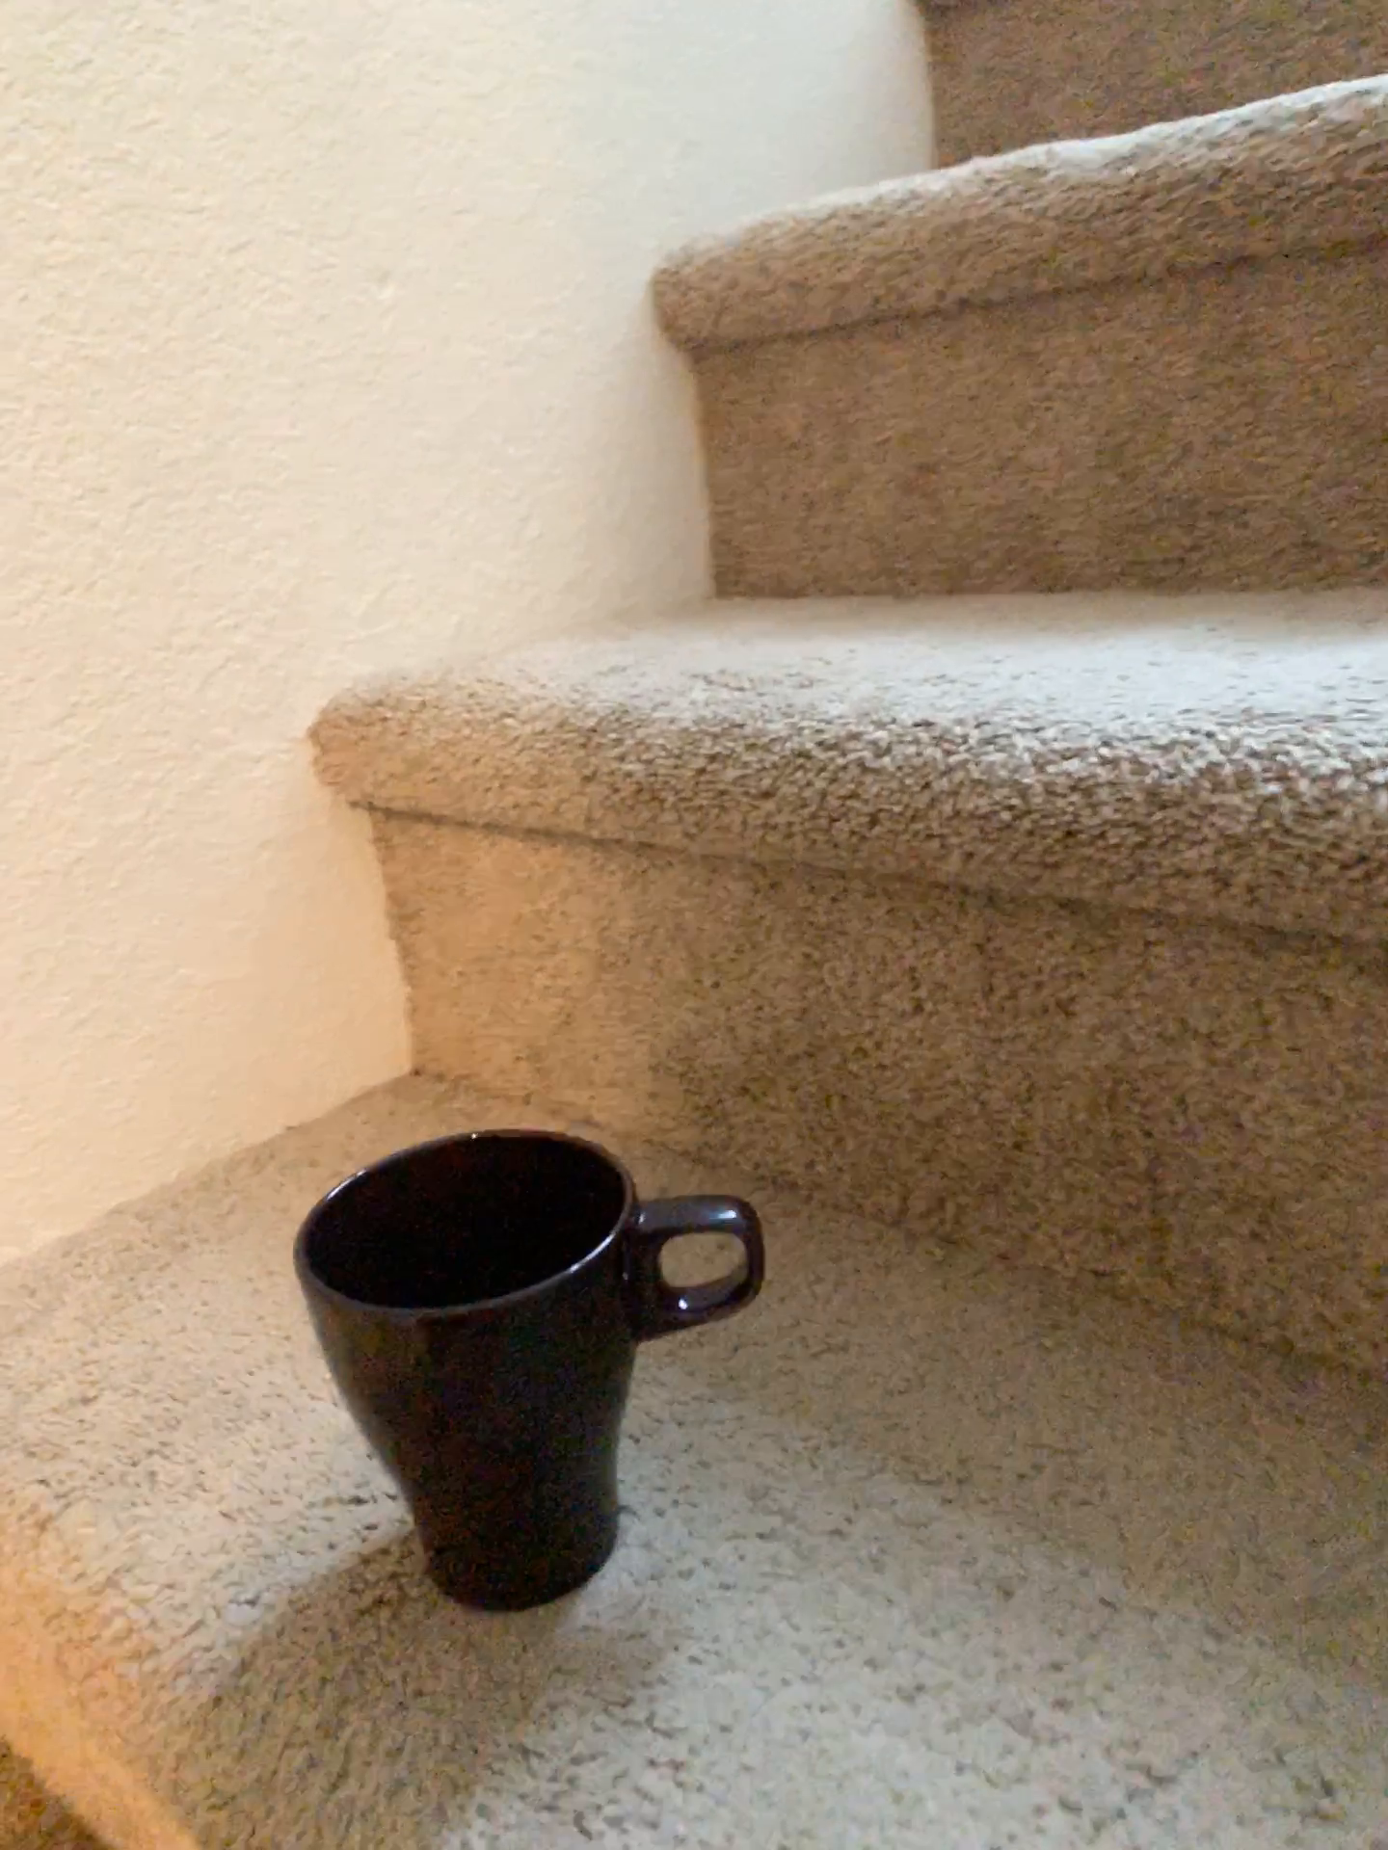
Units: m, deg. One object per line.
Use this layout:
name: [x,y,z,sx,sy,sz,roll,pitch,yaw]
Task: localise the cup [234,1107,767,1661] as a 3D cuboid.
cup: [-0.041,0.114,0.366,0.110,0.099,0.080,-5,17,4]
